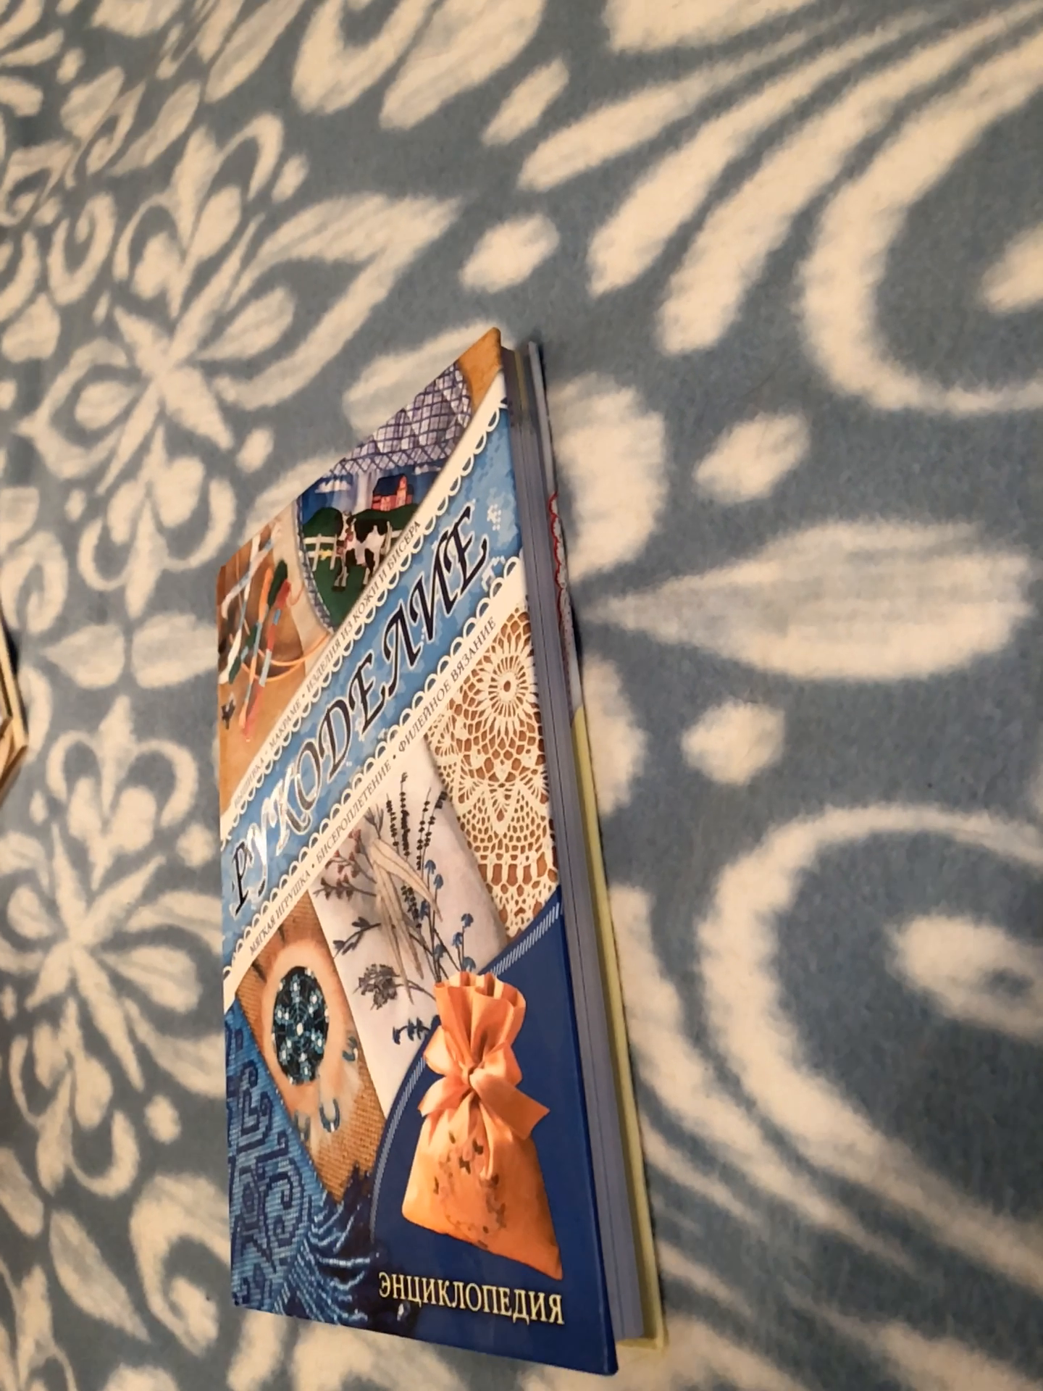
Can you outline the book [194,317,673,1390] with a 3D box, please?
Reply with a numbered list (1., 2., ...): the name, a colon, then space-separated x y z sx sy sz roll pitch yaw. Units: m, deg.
1. book: -0.043 0.045 0.316 0.169 0.020 0.237 -26 63 46
